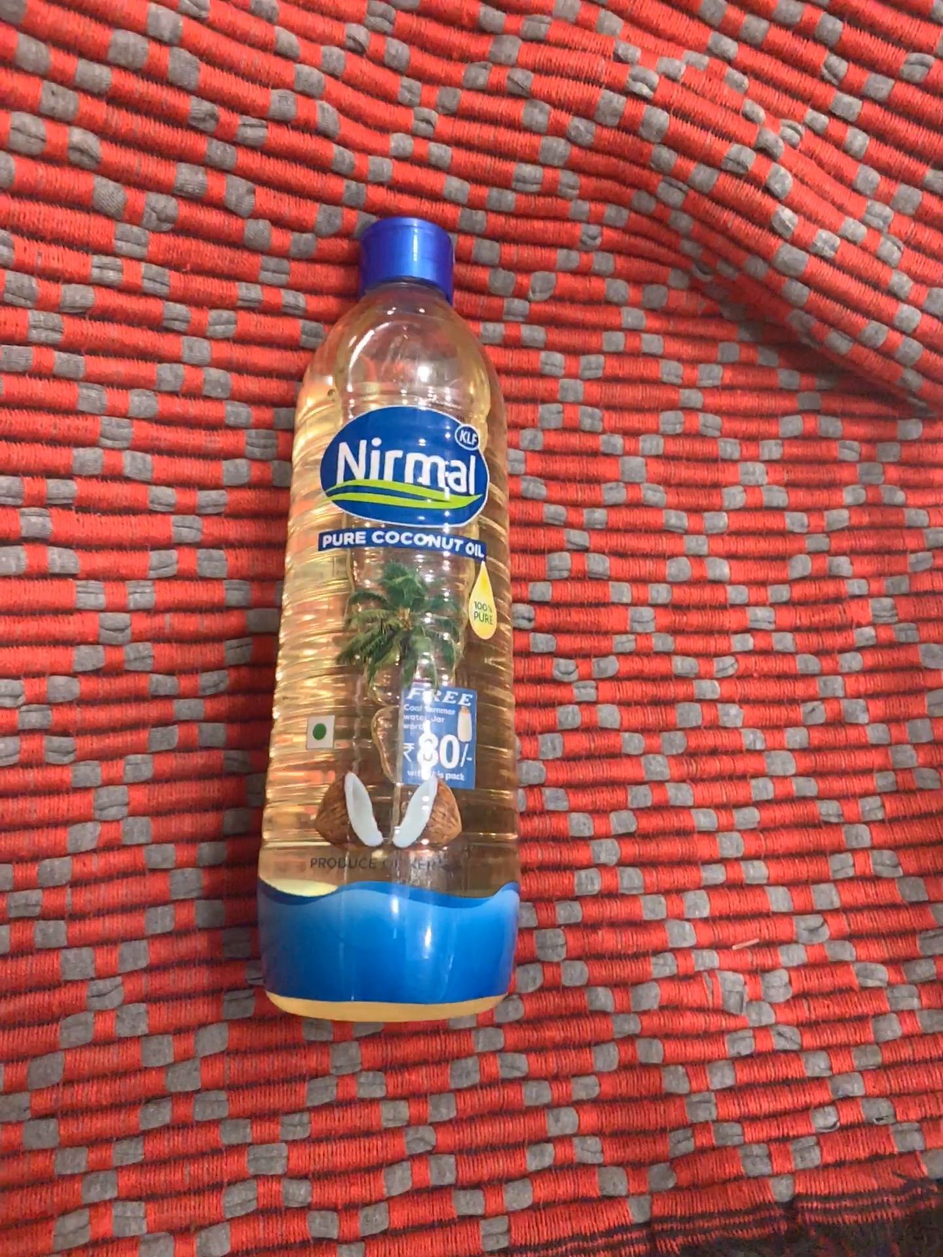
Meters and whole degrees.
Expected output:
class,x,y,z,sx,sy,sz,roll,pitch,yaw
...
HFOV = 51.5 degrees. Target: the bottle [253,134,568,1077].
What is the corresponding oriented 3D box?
class,x,y,z,sx,sy,sz,roll,pitch,yaw
bottle,-0.014,-0.008,0.232,0.060,0.050,0.200,4,78,-11
